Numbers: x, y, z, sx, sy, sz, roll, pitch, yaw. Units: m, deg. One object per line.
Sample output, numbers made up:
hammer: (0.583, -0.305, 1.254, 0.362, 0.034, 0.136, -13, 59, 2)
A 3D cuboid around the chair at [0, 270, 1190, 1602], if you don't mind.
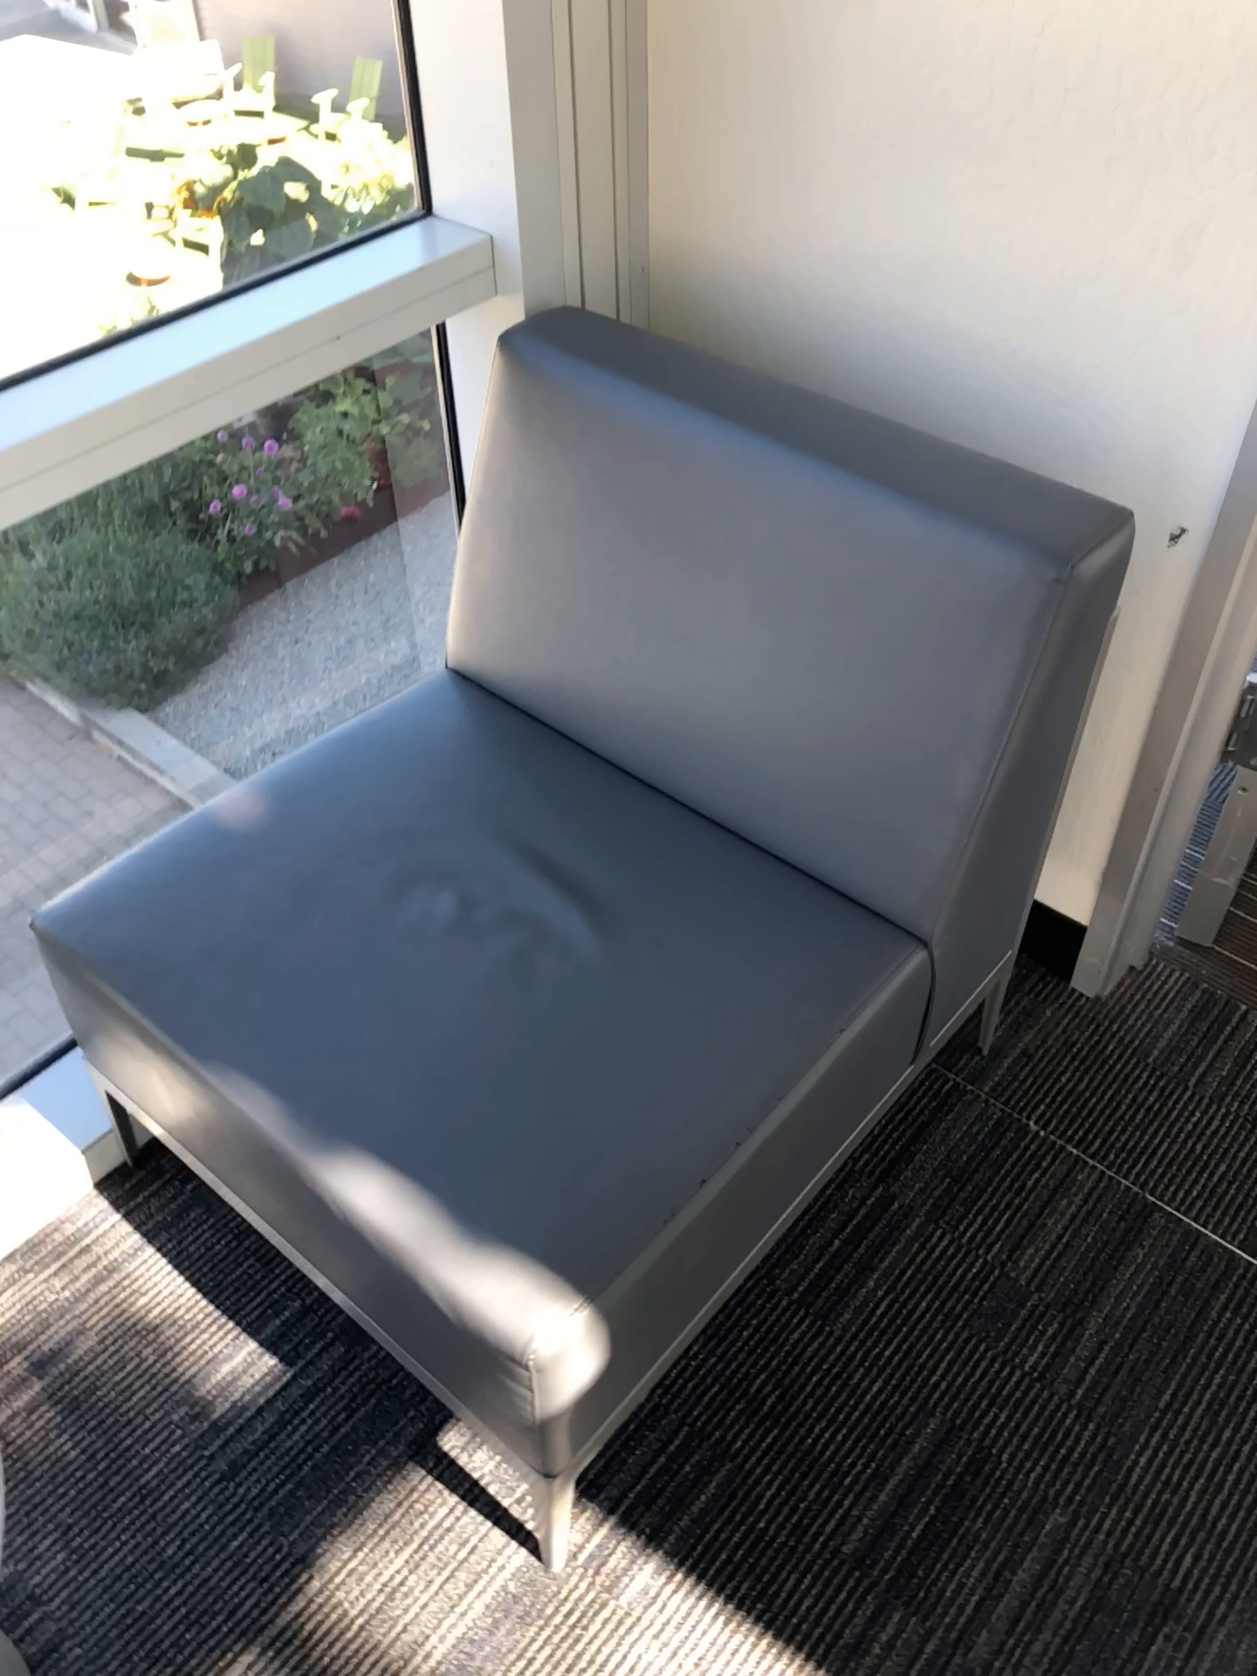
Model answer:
chair: (-0.088, 0.025, 1.326, 0.772, 0.707, 0.751, 31, 53, 29)
